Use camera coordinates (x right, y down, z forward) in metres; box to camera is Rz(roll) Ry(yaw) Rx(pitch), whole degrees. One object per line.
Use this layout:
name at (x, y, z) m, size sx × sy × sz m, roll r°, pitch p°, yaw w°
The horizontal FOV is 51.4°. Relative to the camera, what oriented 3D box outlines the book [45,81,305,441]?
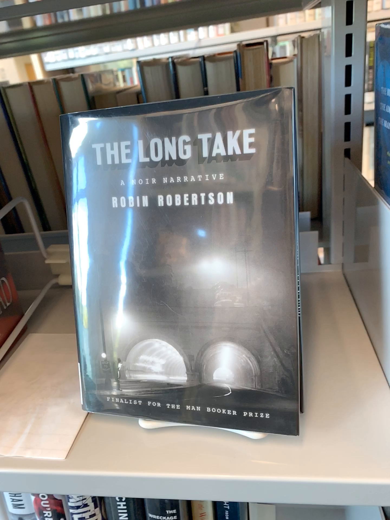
book at (-0.011, 0.004, 0.273) m, size 0.160 × 0.206 × 0.040 m, roll -1°, pitch 7°, yaw 17°
